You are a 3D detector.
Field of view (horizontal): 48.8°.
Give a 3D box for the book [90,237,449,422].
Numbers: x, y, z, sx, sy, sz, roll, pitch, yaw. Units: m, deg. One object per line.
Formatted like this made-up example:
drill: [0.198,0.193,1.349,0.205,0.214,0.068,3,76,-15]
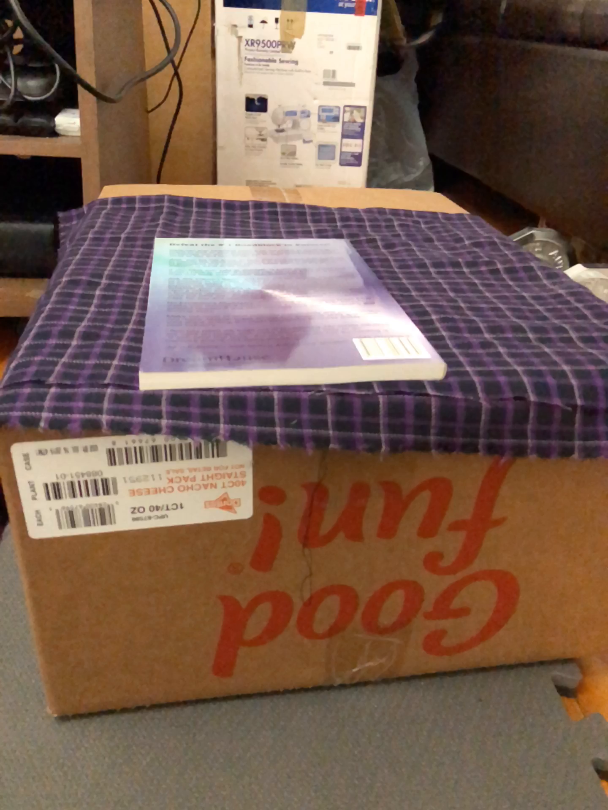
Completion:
book: [-0.030,-0.059,0.396,0.160,0.020,0.221,-2,30,-10]
